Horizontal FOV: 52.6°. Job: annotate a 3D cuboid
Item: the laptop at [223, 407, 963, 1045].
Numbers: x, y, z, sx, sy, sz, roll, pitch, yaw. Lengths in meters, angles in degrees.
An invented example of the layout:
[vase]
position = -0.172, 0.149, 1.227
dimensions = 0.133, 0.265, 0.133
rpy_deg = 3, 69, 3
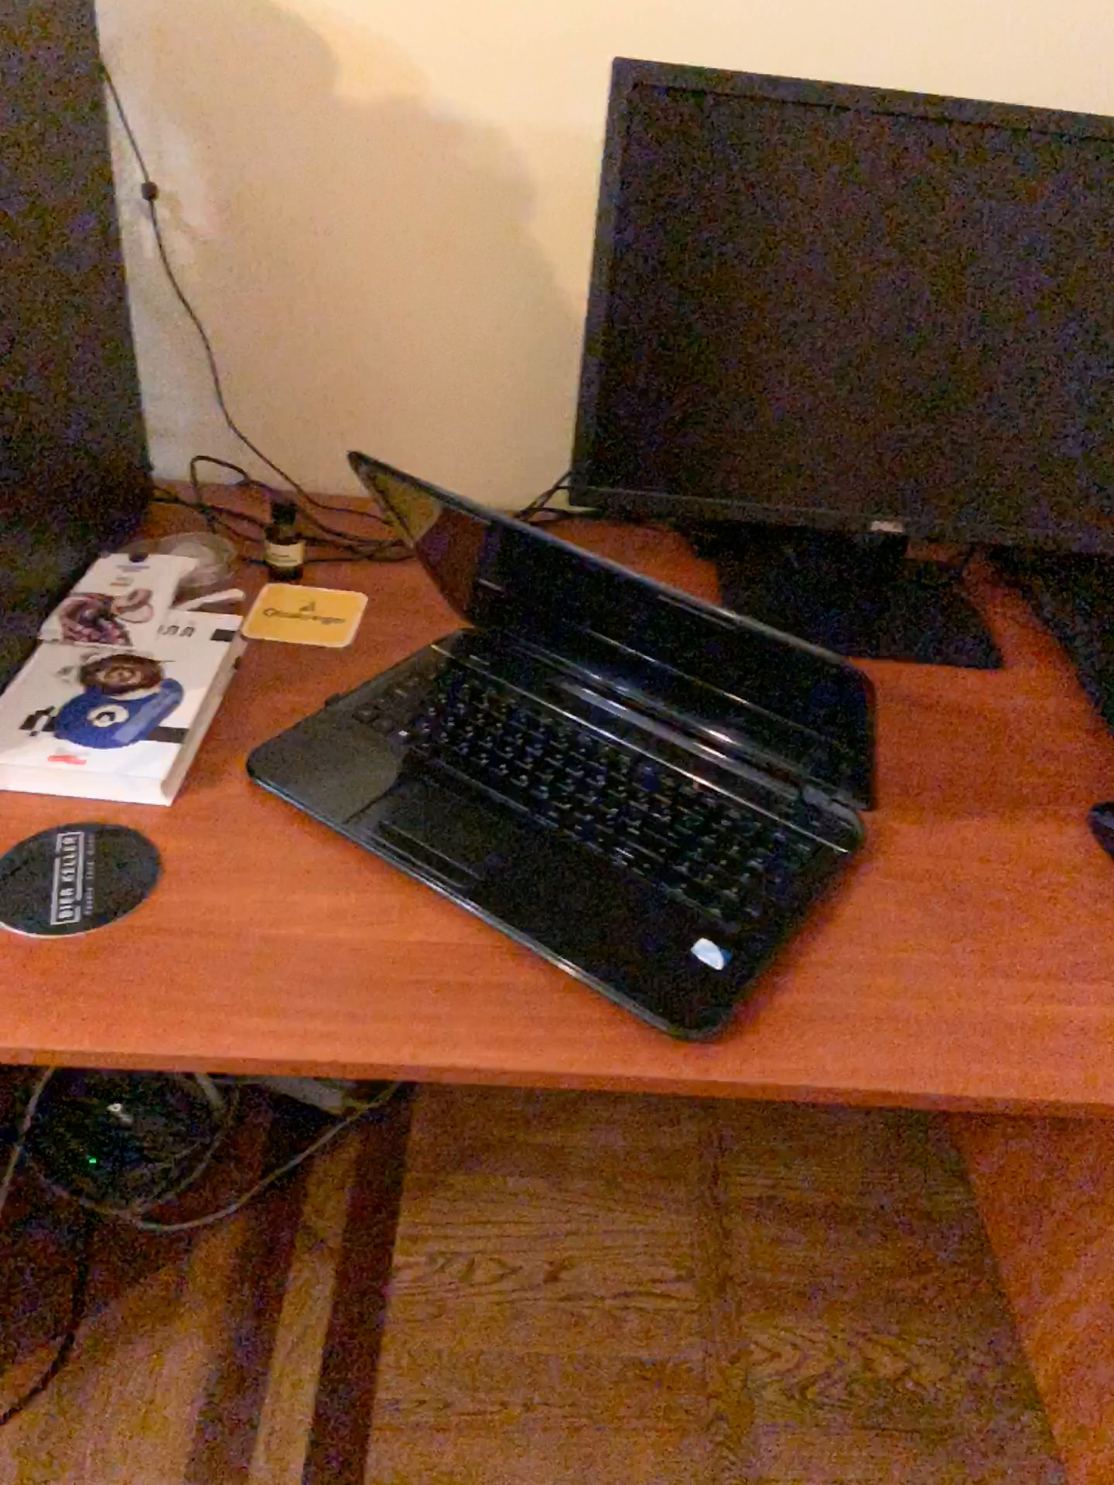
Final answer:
[laptop]
position = 0.013, -0.040, 0.728
dimensions = 0.370, 0.194, 0.245
rpy_deg = 27, 41, 25
